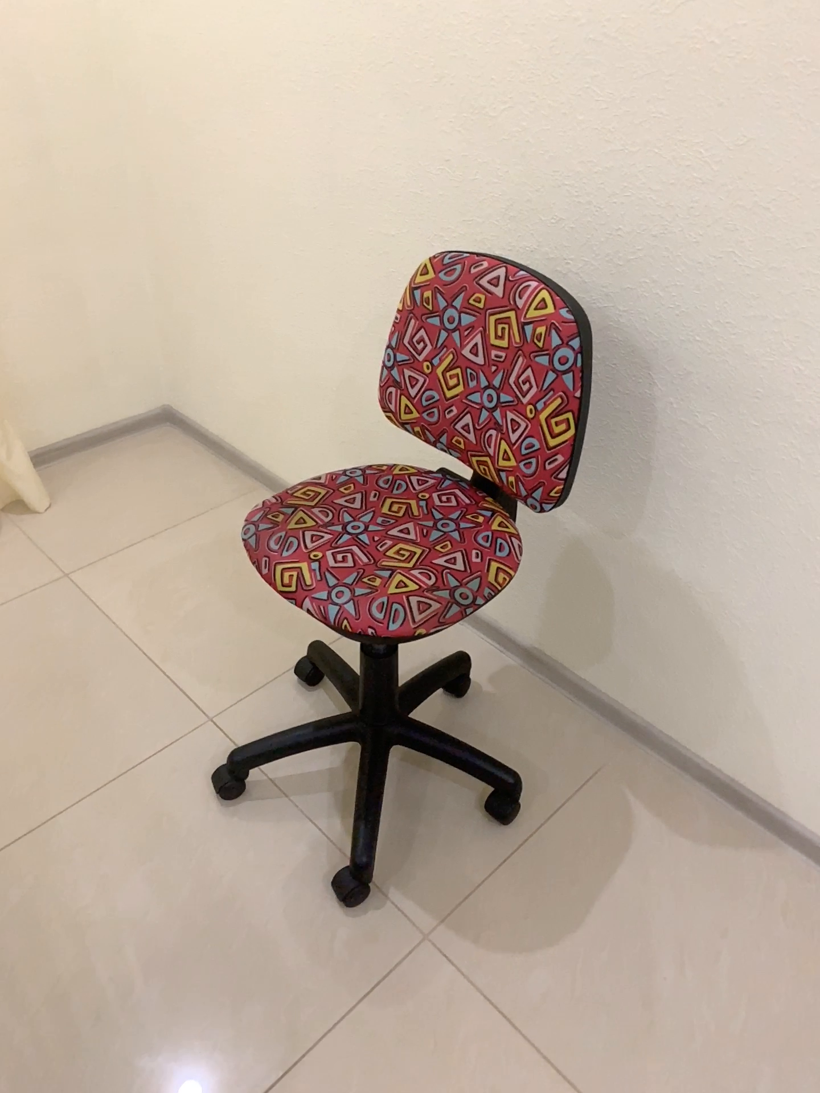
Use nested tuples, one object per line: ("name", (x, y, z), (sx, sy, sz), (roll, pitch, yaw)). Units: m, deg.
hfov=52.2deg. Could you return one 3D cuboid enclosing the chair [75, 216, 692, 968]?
("chair", (-0.048, 0.053, 1.312), (0.541, 0.885, 0.552), (-30, 48, -35))
